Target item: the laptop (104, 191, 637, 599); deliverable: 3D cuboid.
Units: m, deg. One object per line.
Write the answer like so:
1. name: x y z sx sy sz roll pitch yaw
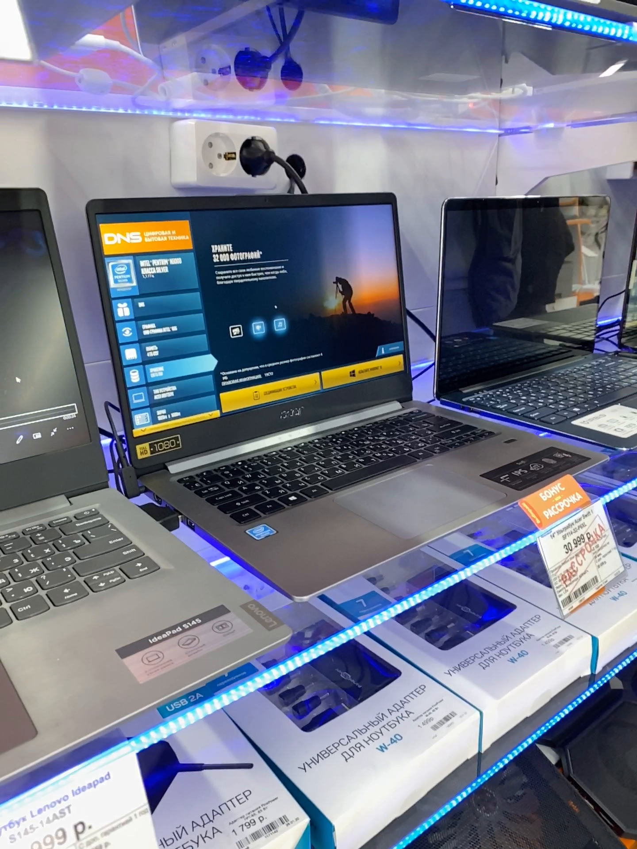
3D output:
1. laptop: 0.045 -0.071 0.512 0.319 0.206 0.257 -15 24 -36
